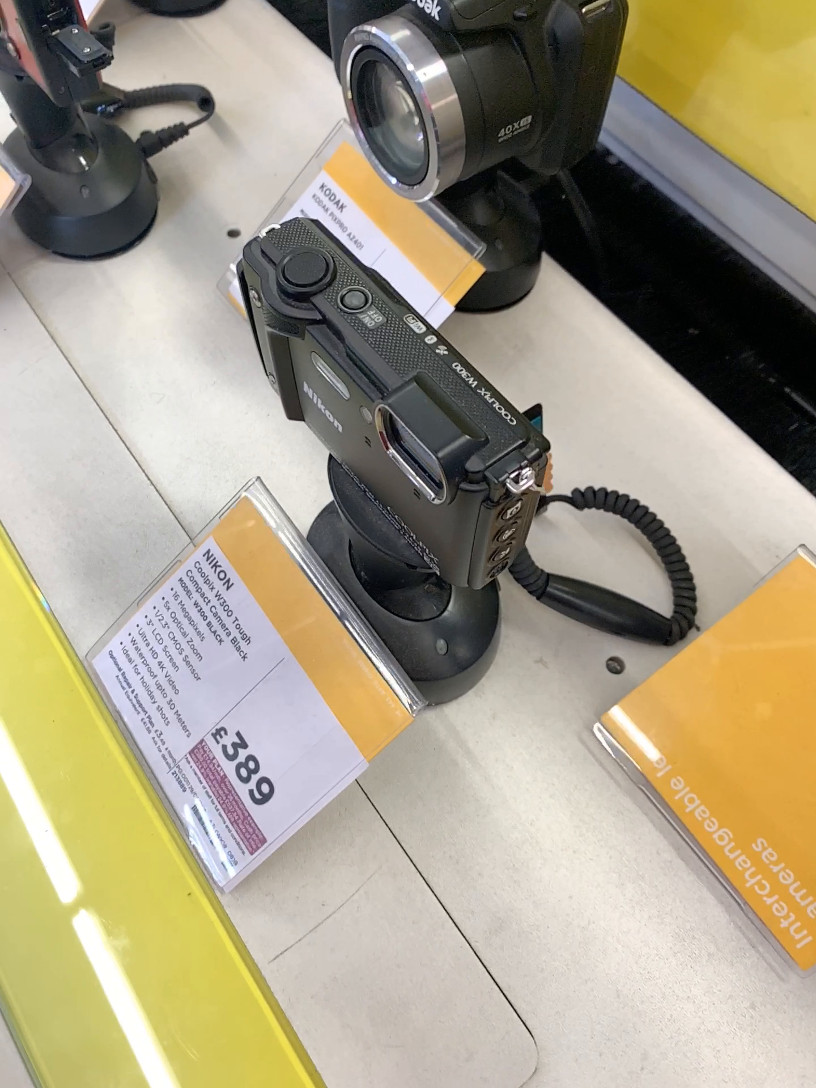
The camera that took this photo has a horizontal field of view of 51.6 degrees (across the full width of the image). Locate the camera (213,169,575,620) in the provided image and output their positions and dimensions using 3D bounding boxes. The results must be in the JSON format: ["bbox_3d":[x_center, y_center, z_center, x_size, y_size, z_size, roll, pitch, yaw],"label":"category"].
[{"bbox_3d":[-0.008,-0.044,0.252,0.030,0.070,0.120,-33,67,-16],"label":"camera"}]
